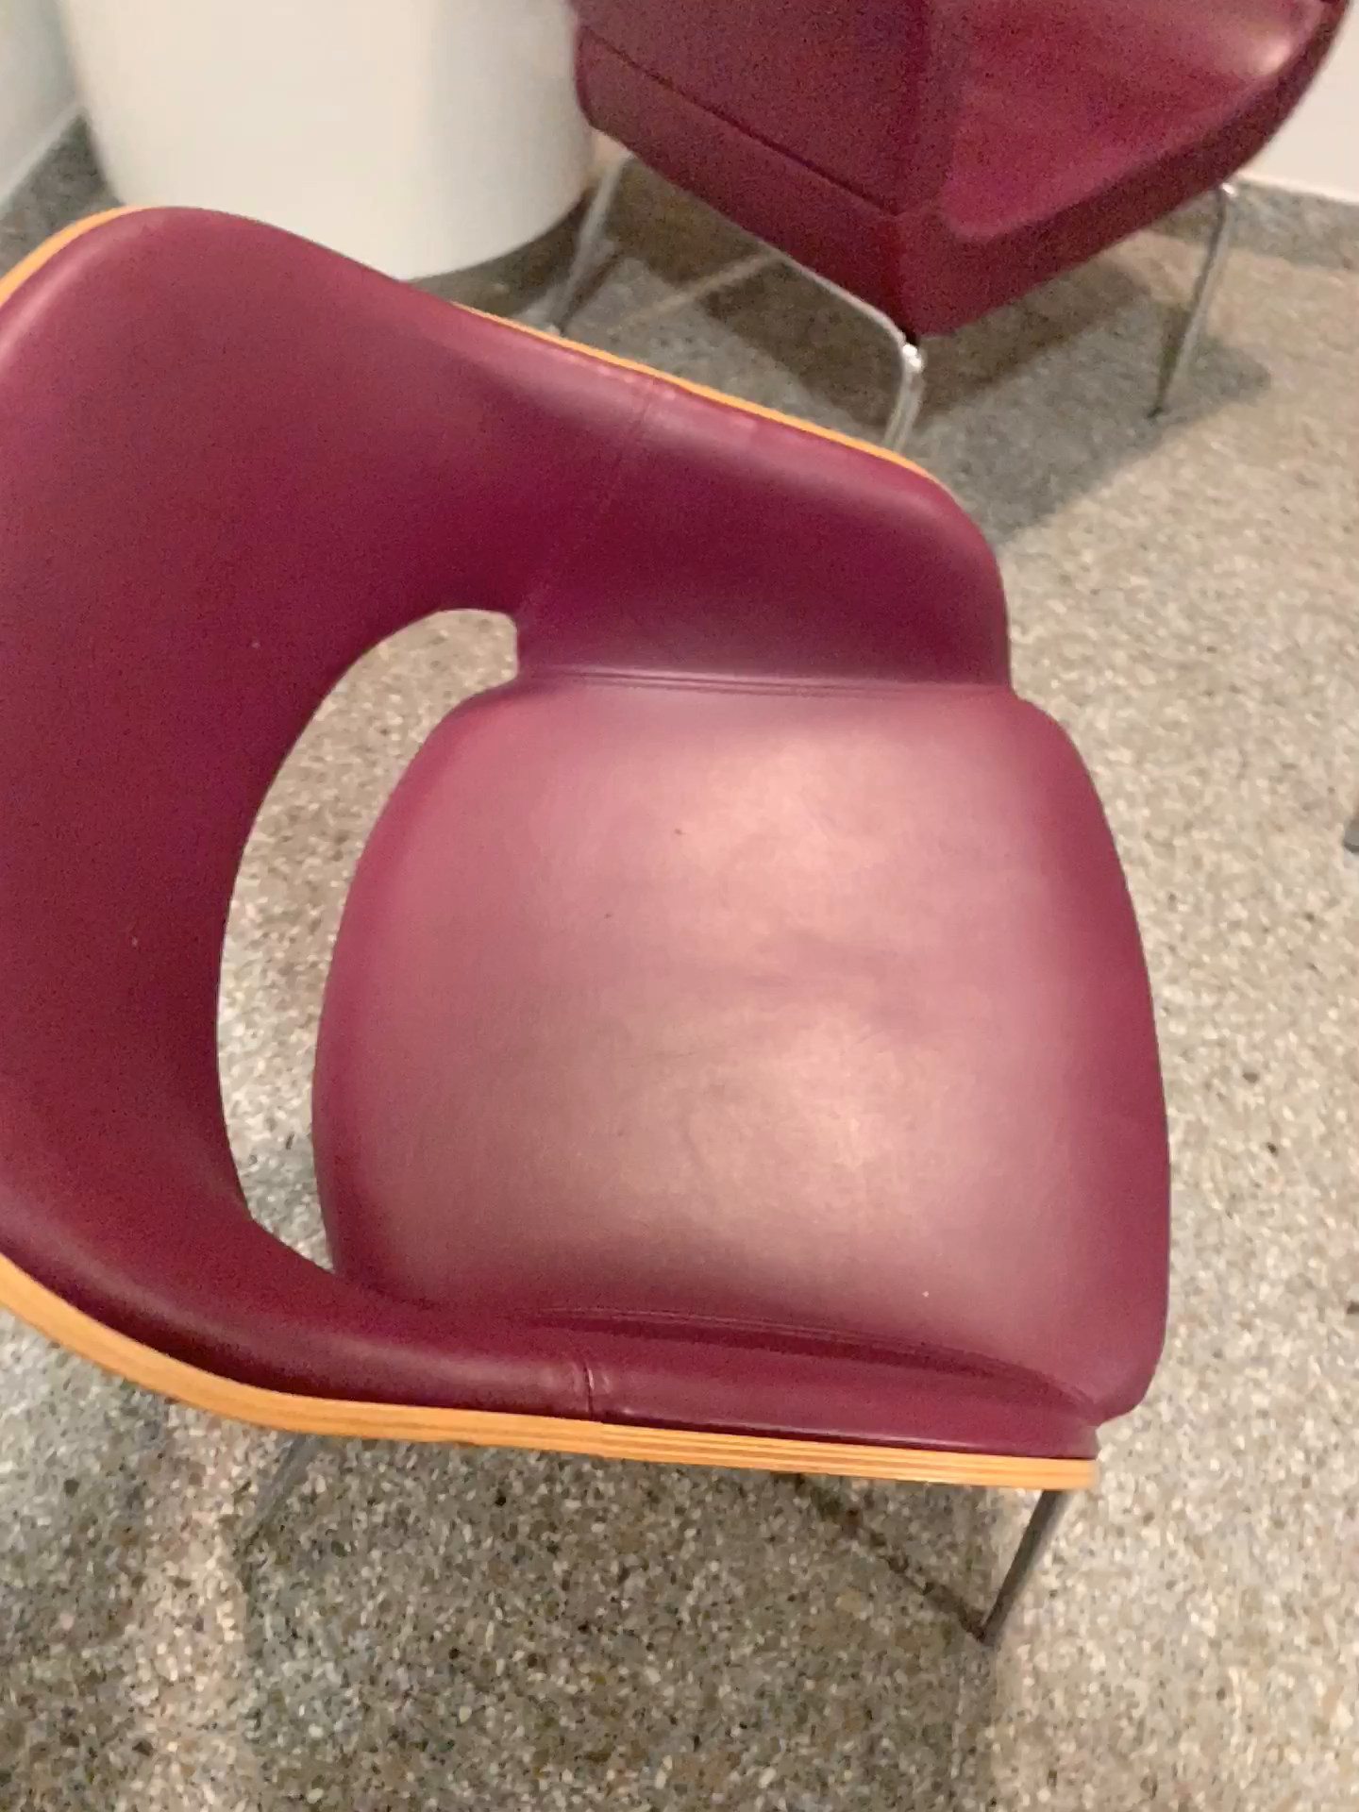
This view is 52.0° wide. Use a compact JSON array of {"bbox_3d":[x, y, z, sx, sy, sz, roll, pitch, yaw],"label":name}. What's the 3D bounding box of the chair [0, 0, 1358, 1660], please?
[{"bbox_3d":[0.021,0.042,0.769,0.630,0.735,0.574,5,57,-2],"label":"chair"}]
